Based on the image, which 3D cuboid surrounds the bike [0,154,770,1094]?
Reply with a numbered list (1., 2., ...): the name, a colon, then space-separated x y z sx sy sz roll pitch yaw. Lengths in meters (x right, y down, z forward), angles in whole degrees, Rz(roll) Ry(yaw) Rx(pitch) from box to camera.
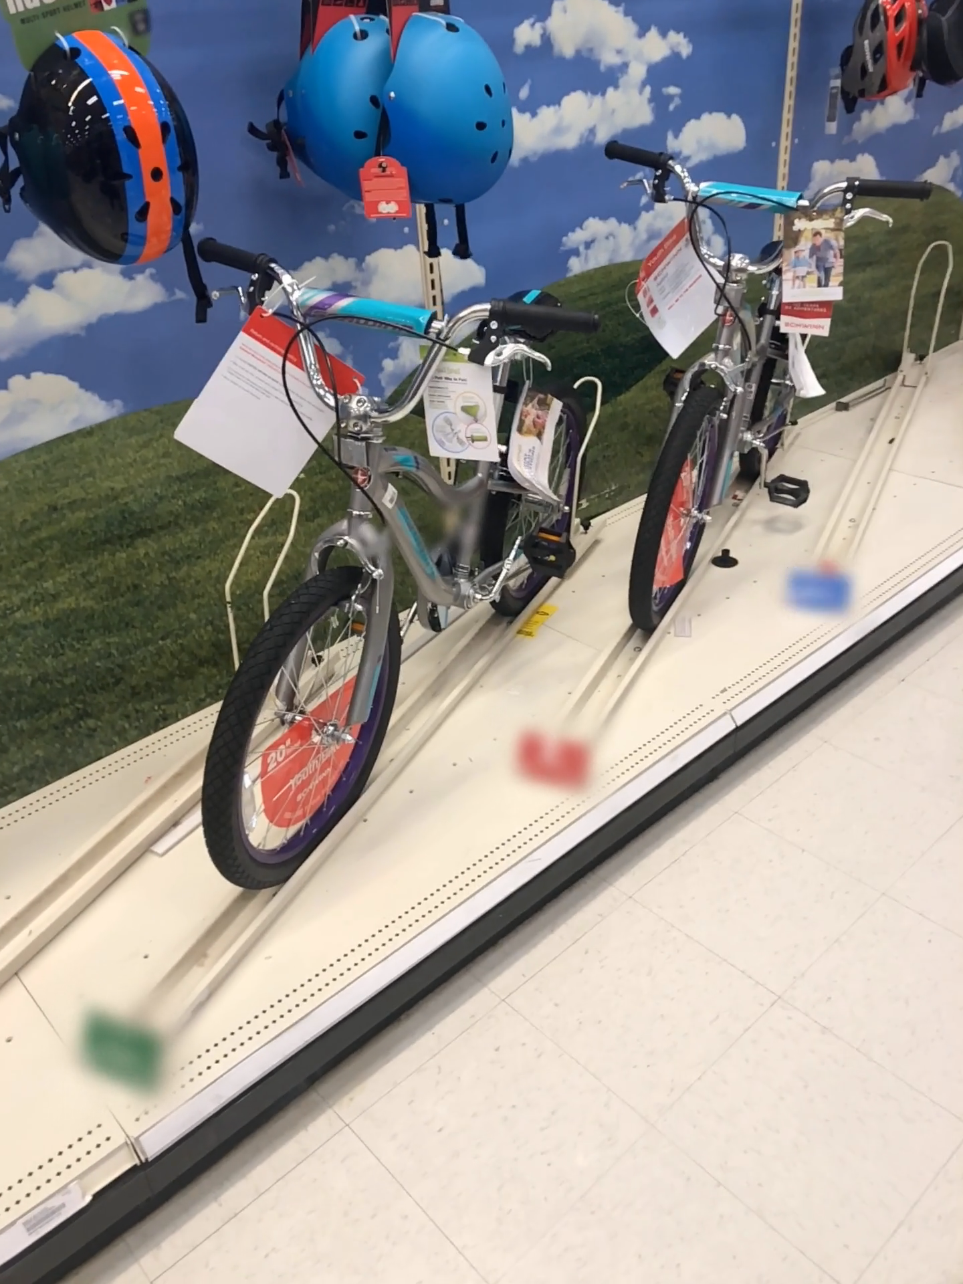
1. bike: -0.019 -0.197 1.792 0.649 0.878 1.327 11 38 23
